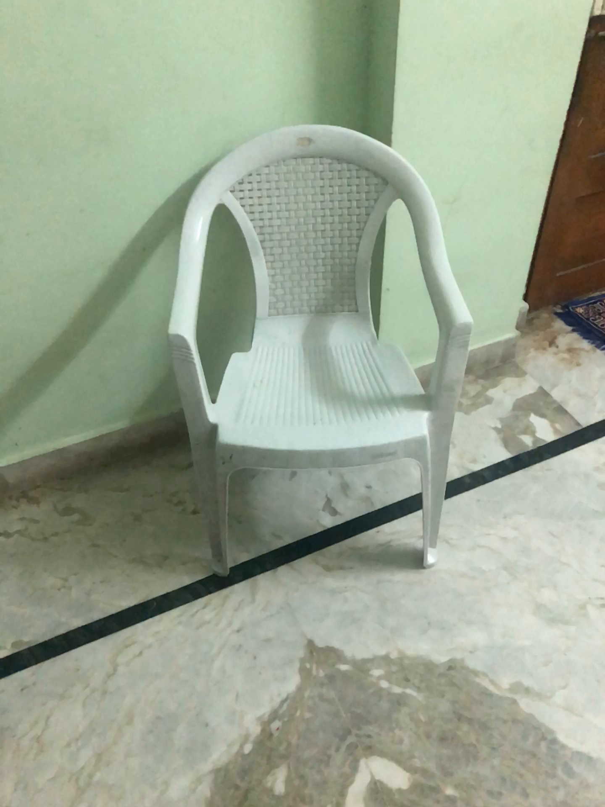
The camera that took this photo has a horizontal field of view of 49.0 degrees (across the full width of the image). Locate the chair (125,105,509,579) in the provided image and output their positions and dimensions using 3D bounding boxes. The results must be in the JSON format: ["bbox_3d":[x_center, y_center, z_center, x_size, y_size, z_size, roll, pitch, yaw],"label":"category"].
[{"bbox_3d":[0.032,-0.097,1.390,0.530,0.825,0.533,-1,43,2],"label":"chair"}]
